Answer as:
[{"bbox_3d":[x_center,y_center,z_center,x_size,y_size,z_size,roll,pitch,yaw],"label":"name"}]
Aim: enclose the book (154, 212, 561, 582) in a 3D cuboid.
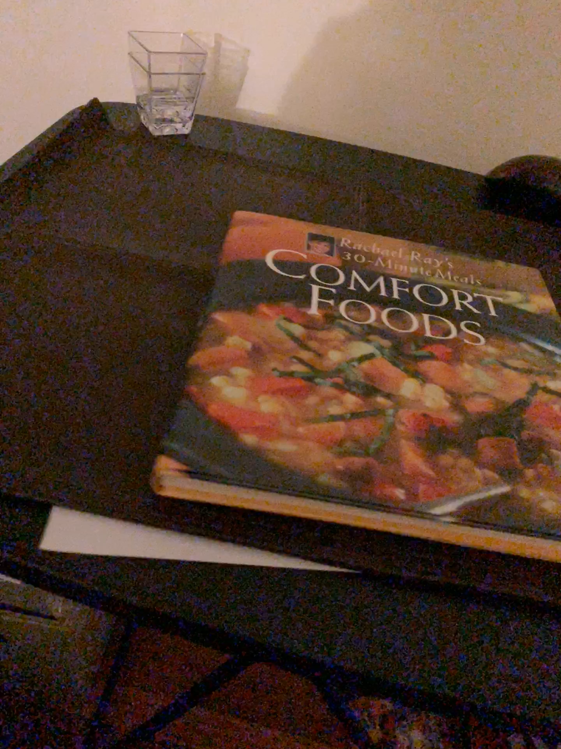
[{"bbox_3d":[0.059,-0.008,0.295,0.200,0.020,0.201,10,43,-3],"label":"book"}]
